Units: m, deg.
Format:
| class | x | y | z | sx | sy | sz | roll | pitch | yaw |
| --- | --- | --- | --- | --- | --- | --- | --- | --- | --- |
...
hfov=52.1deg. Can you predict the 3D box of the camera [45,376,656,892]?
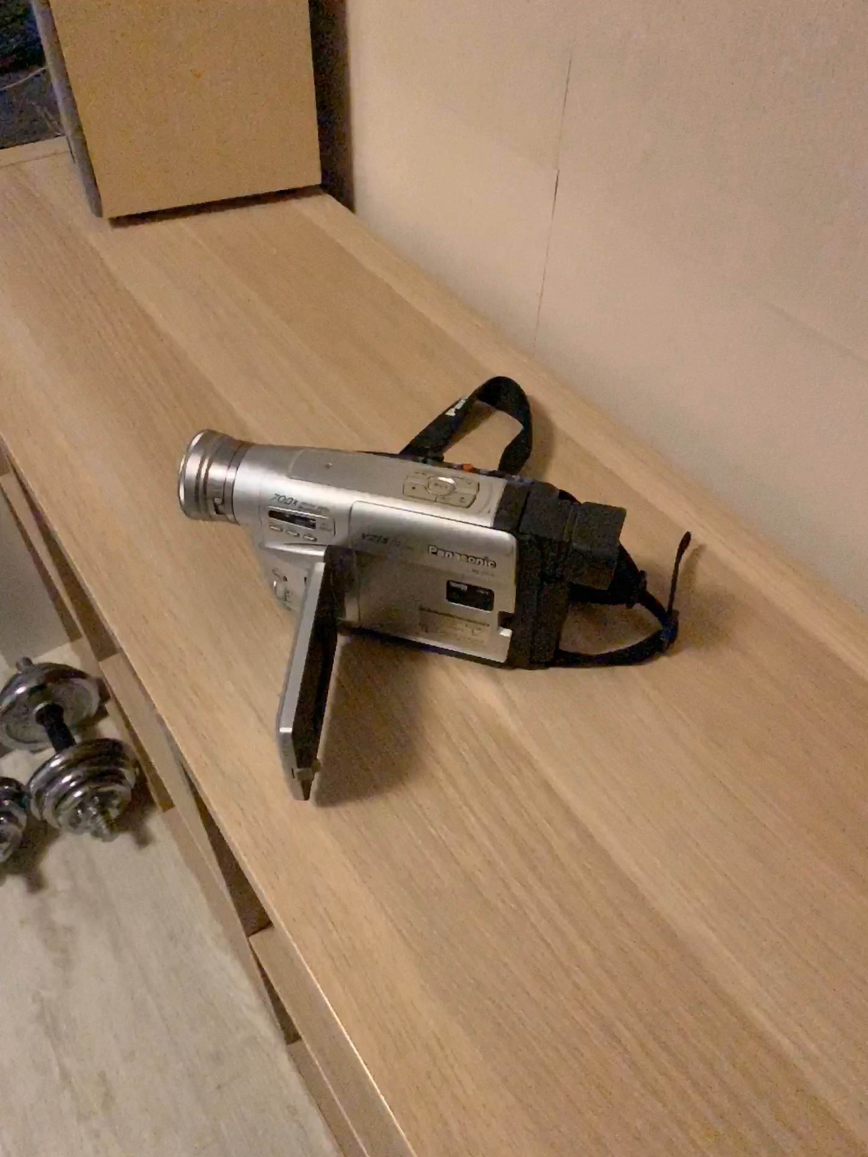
| class | x | y | z | sx | sy | sz | roll | pitch | yaw |
| --- | --- | --- | --- | --- | --- | --- | --- | --- | --- |
| camera | -0.026 | 0.016 | 0.474 | 0.246 | 0.109 | 0.204 | 12 | 48 | 9 |
